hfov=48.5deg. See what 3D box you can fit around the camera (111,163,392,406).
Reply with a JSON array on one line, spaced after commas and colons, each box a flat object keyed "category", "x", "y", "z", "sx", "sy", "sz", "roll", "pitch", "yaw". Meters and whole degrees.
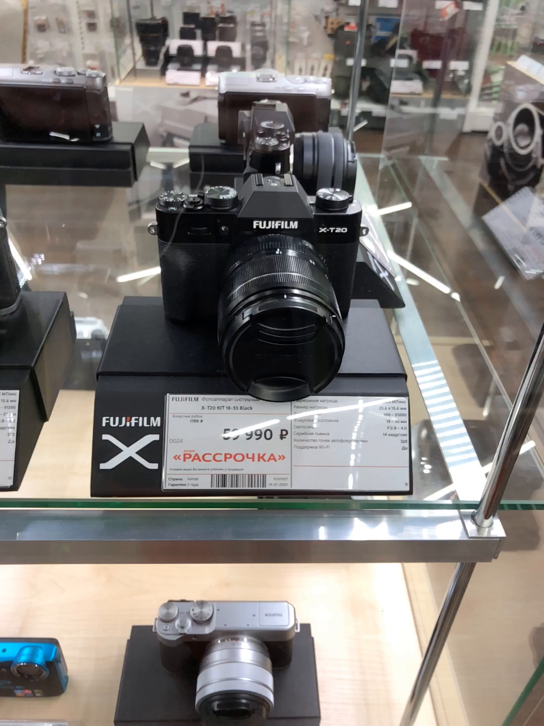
[{"category": "camera", "x": -0.012, "y": -0.048, "z": 0.332, "sx": 0.120, "sy": 0.081, "sz": 0.122, "roll": 0, "pitch": 37, "yaw": -4}]
